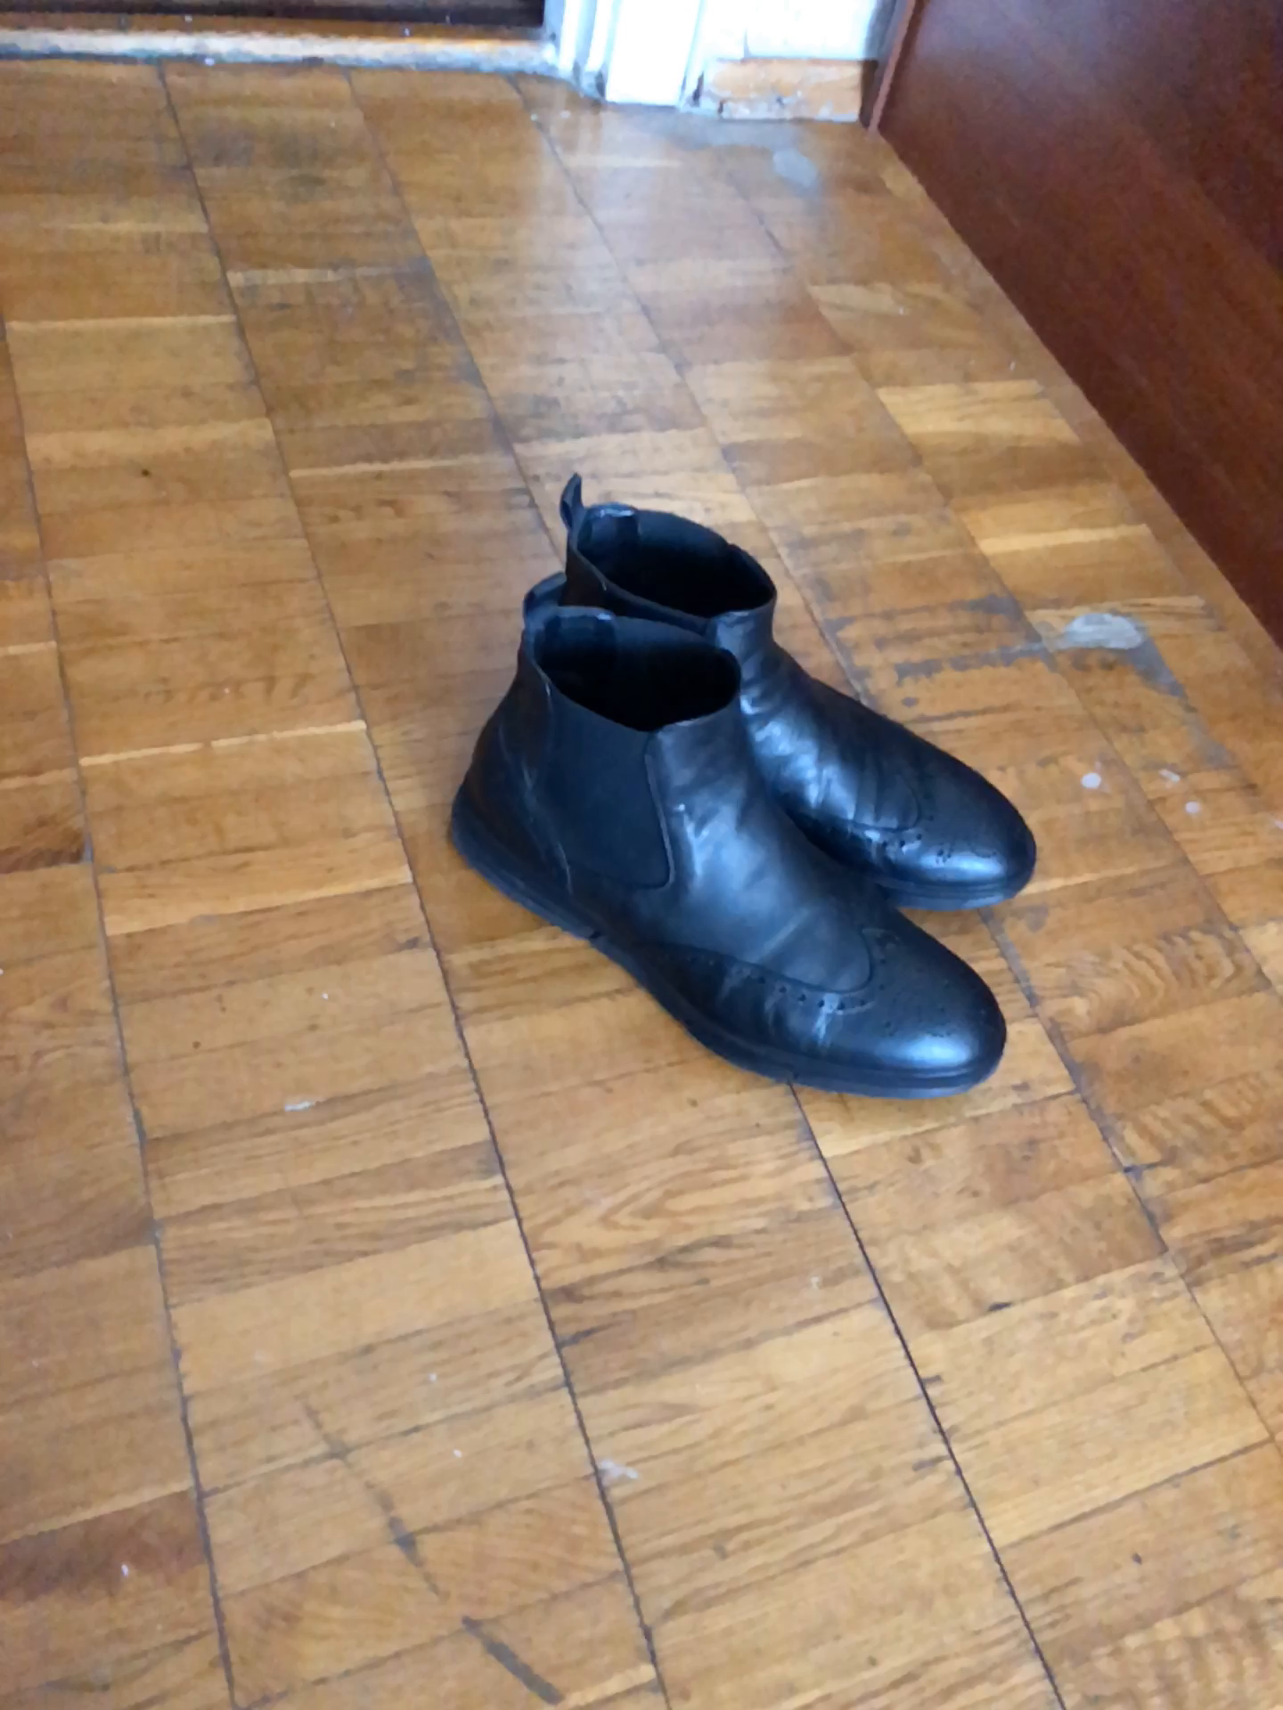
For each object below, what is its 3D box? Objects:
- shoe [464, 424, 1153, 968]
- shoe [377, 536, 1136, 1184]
[{"bbox_3d":[0.077,-0.078,0.707,0.300,0.139,0.111,21,52,3],"label":"shoe"},{"bbox_3d":[0.041,0.002,0.637,0.300,0.139,0.111,28,53,8],"label":"shoe"}]
